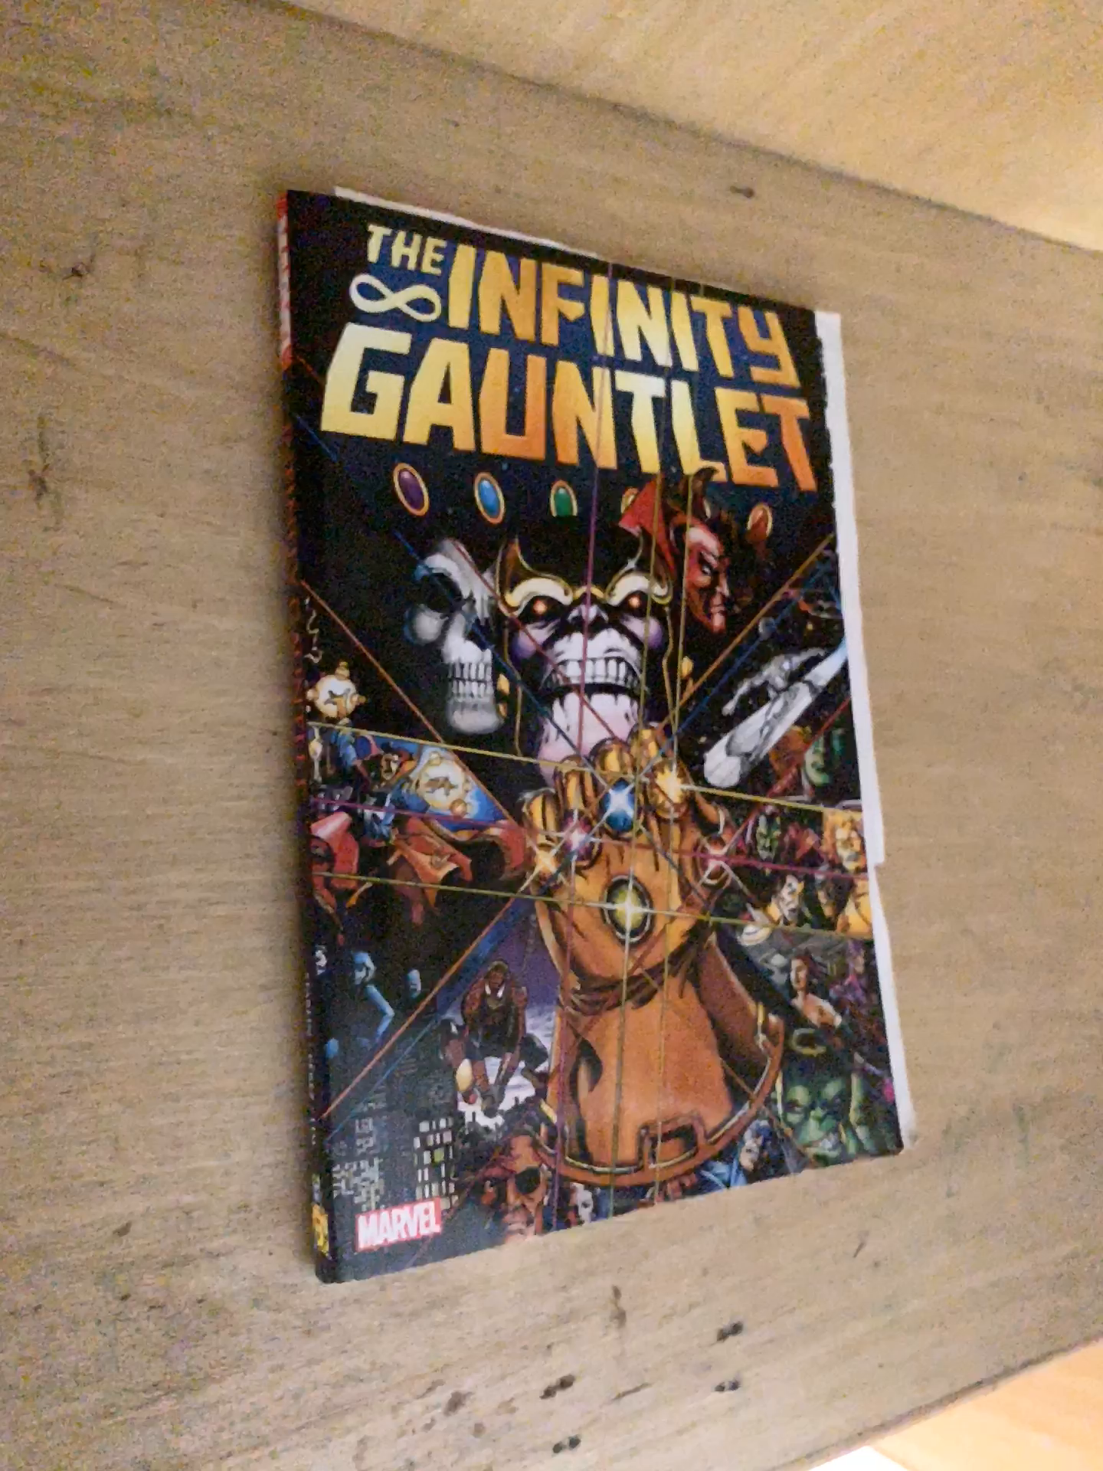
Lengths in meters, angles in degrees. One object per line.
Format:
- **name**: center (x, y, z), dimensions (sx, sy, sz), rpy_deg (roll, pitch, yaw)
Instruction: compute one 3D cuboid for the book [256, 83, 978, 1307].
- **book**: center (0.024, -0.015, 0.310), dimensions (0.191, 0.030, 0.270), rpy_deg (0, 84, -28)
